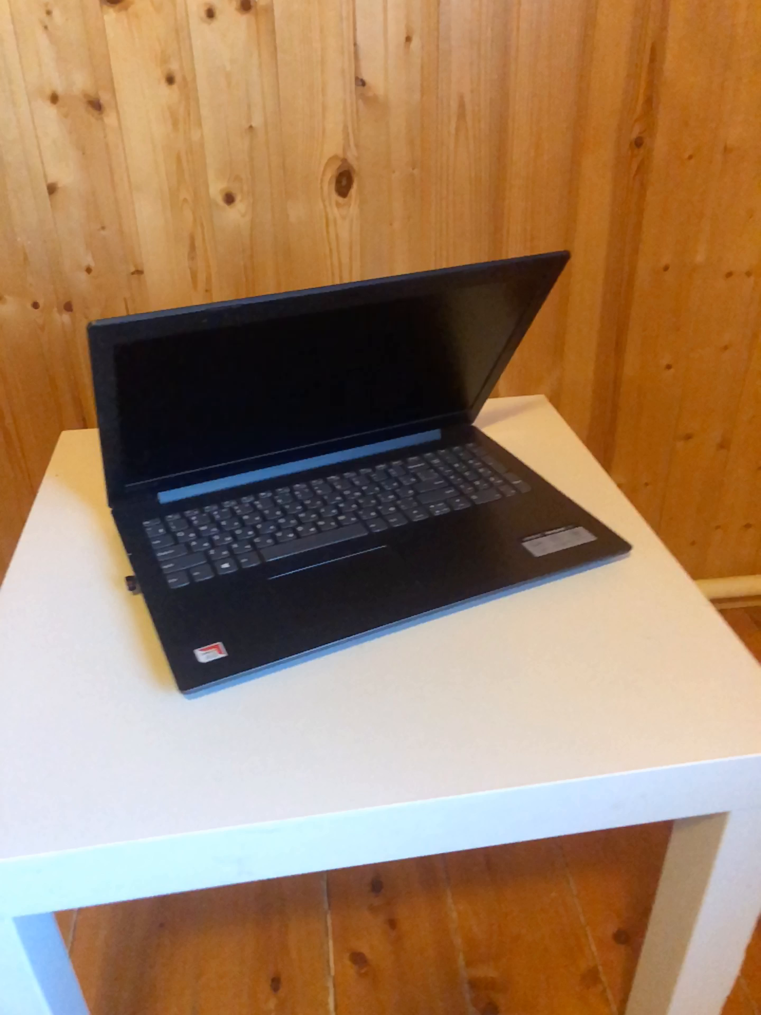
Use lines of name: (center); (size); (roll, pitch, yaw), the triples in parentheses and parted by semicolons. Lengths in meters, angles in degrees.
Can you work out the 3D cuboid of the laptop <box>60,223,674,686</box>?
laptop: (-0.019, -0.073, 0.656); (0.373, 0.206, 0.251); (-15, 33, -21)
